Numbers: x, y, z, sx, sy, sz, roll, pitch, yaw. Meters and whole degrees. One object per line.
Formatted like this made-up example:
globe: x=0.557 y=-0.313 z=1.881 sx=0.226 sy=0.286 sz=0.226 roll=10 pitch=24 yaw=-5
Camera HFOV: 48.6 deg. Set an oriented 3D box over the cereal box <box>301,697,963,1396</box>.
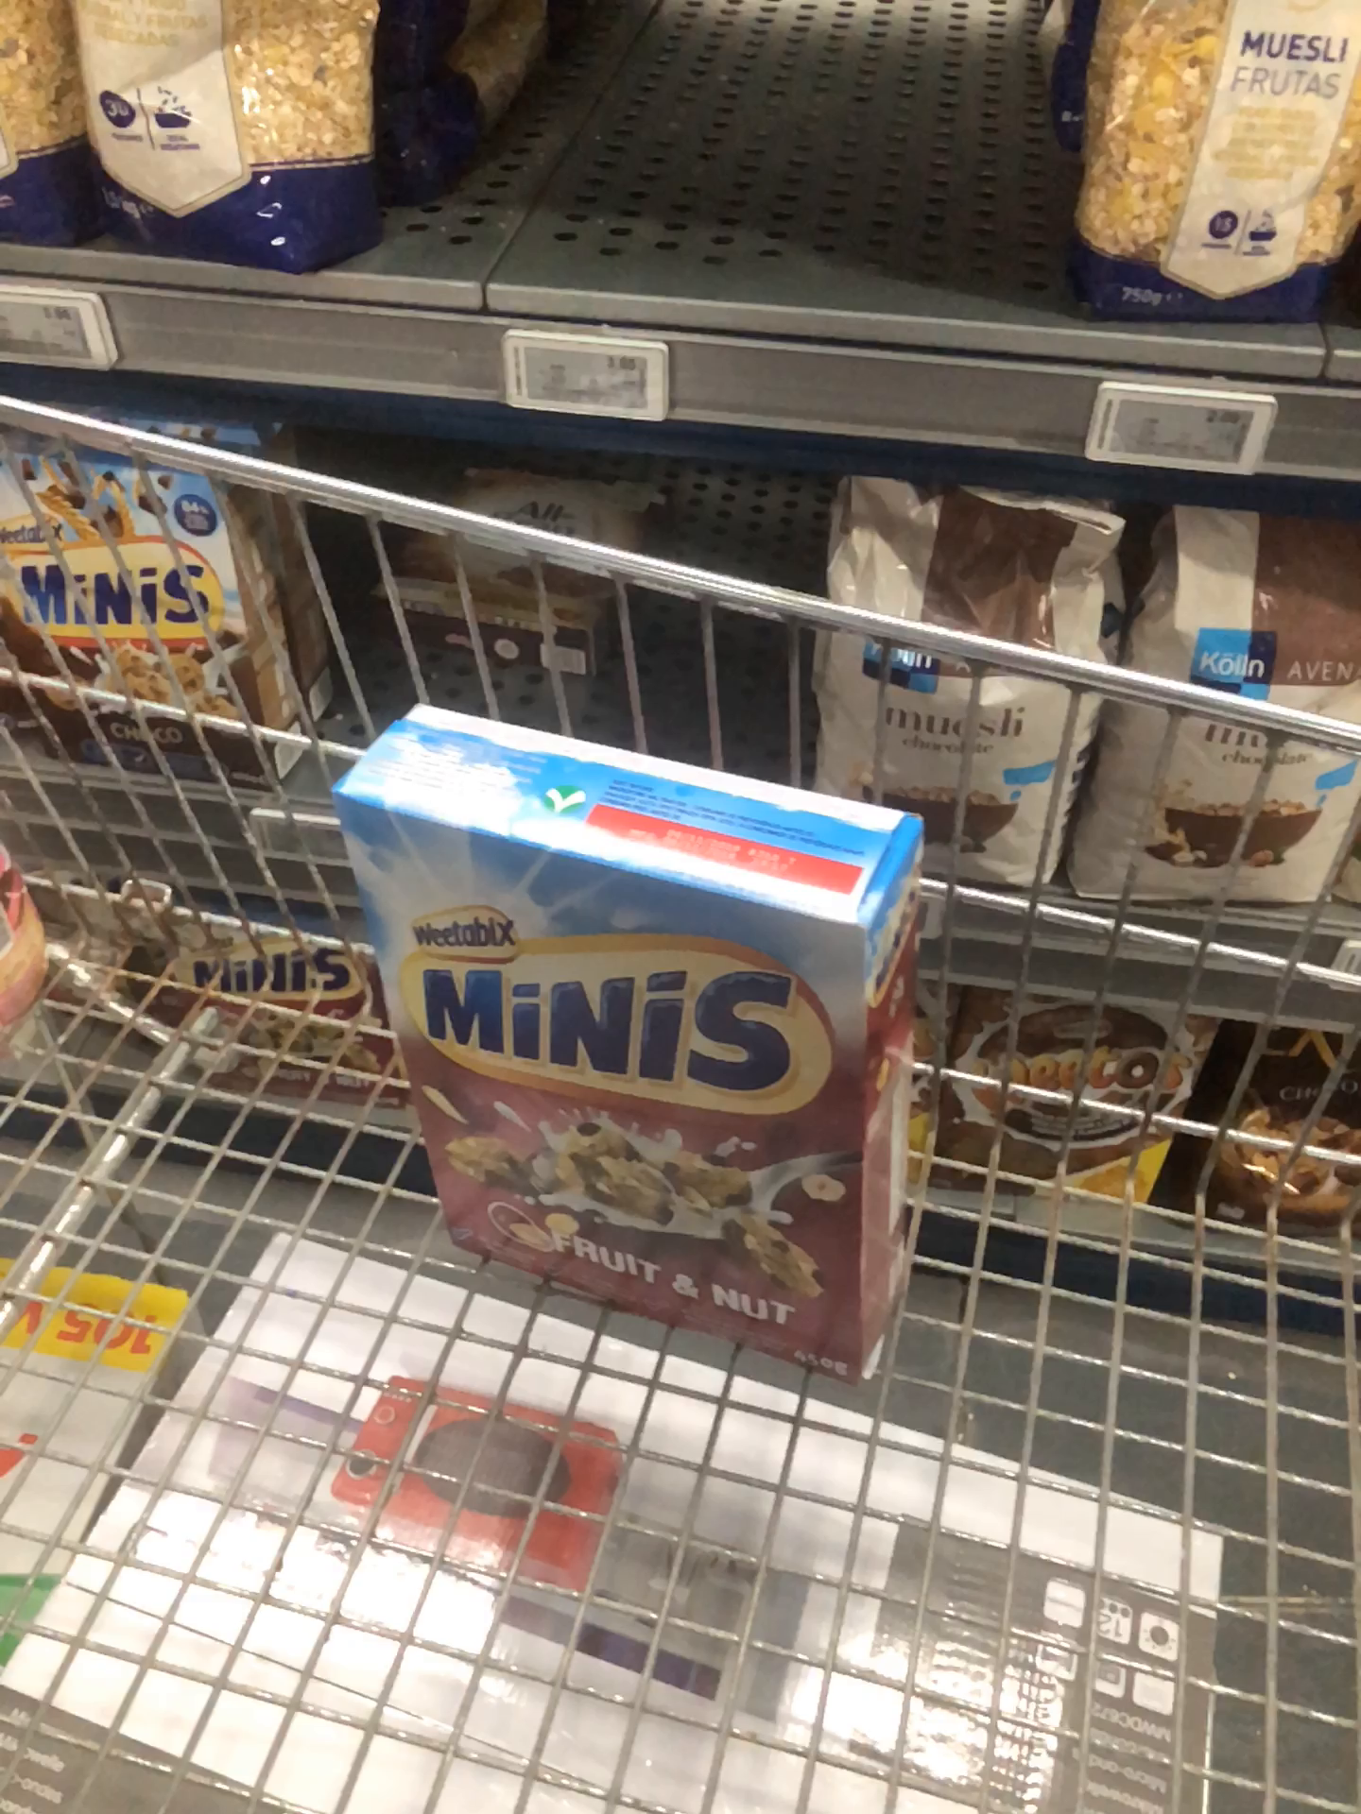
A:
cereal box: x=-0.011 y=0.063 z=0.617 sx=0.220 sy=0.259 sz=0.080 roll=13 pitch=45 yaw=19
